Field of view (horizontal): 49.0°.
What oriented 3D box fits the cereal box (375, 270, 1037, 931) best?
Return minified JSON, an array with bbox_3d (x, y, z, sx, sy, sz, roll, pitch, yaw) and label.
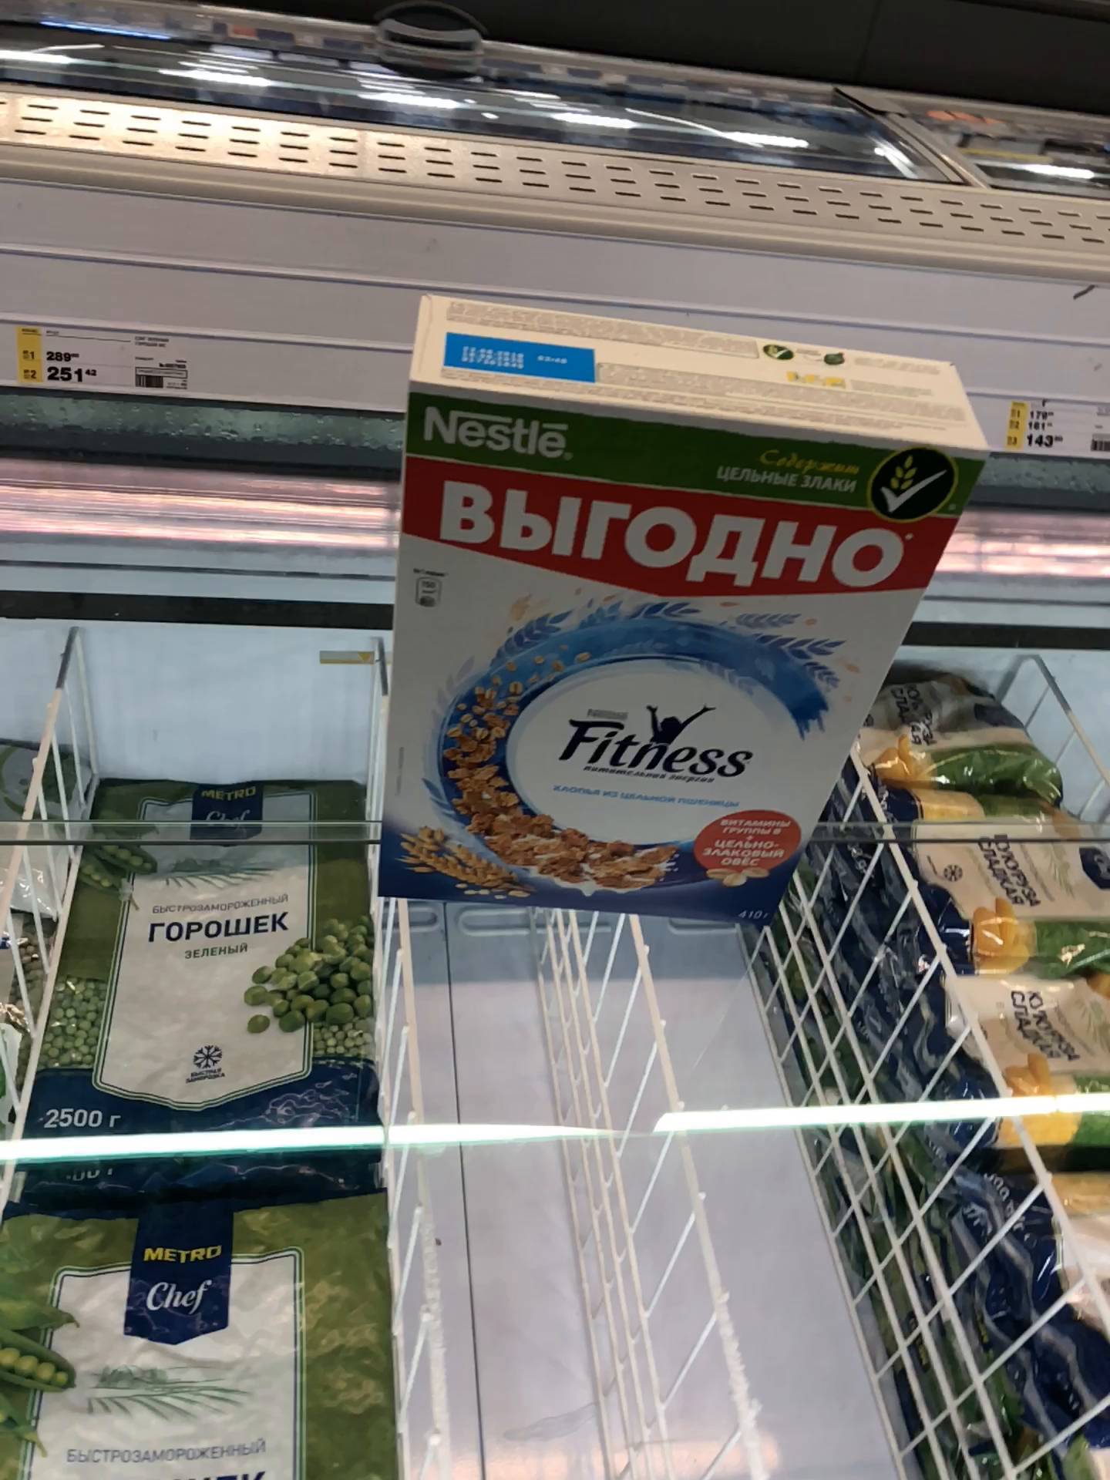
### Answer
[{"bbox_3d":[0.035,-0.034,0.491,0.200,0.268,0.060,5,45,-6],"label":"cereal box"}]
